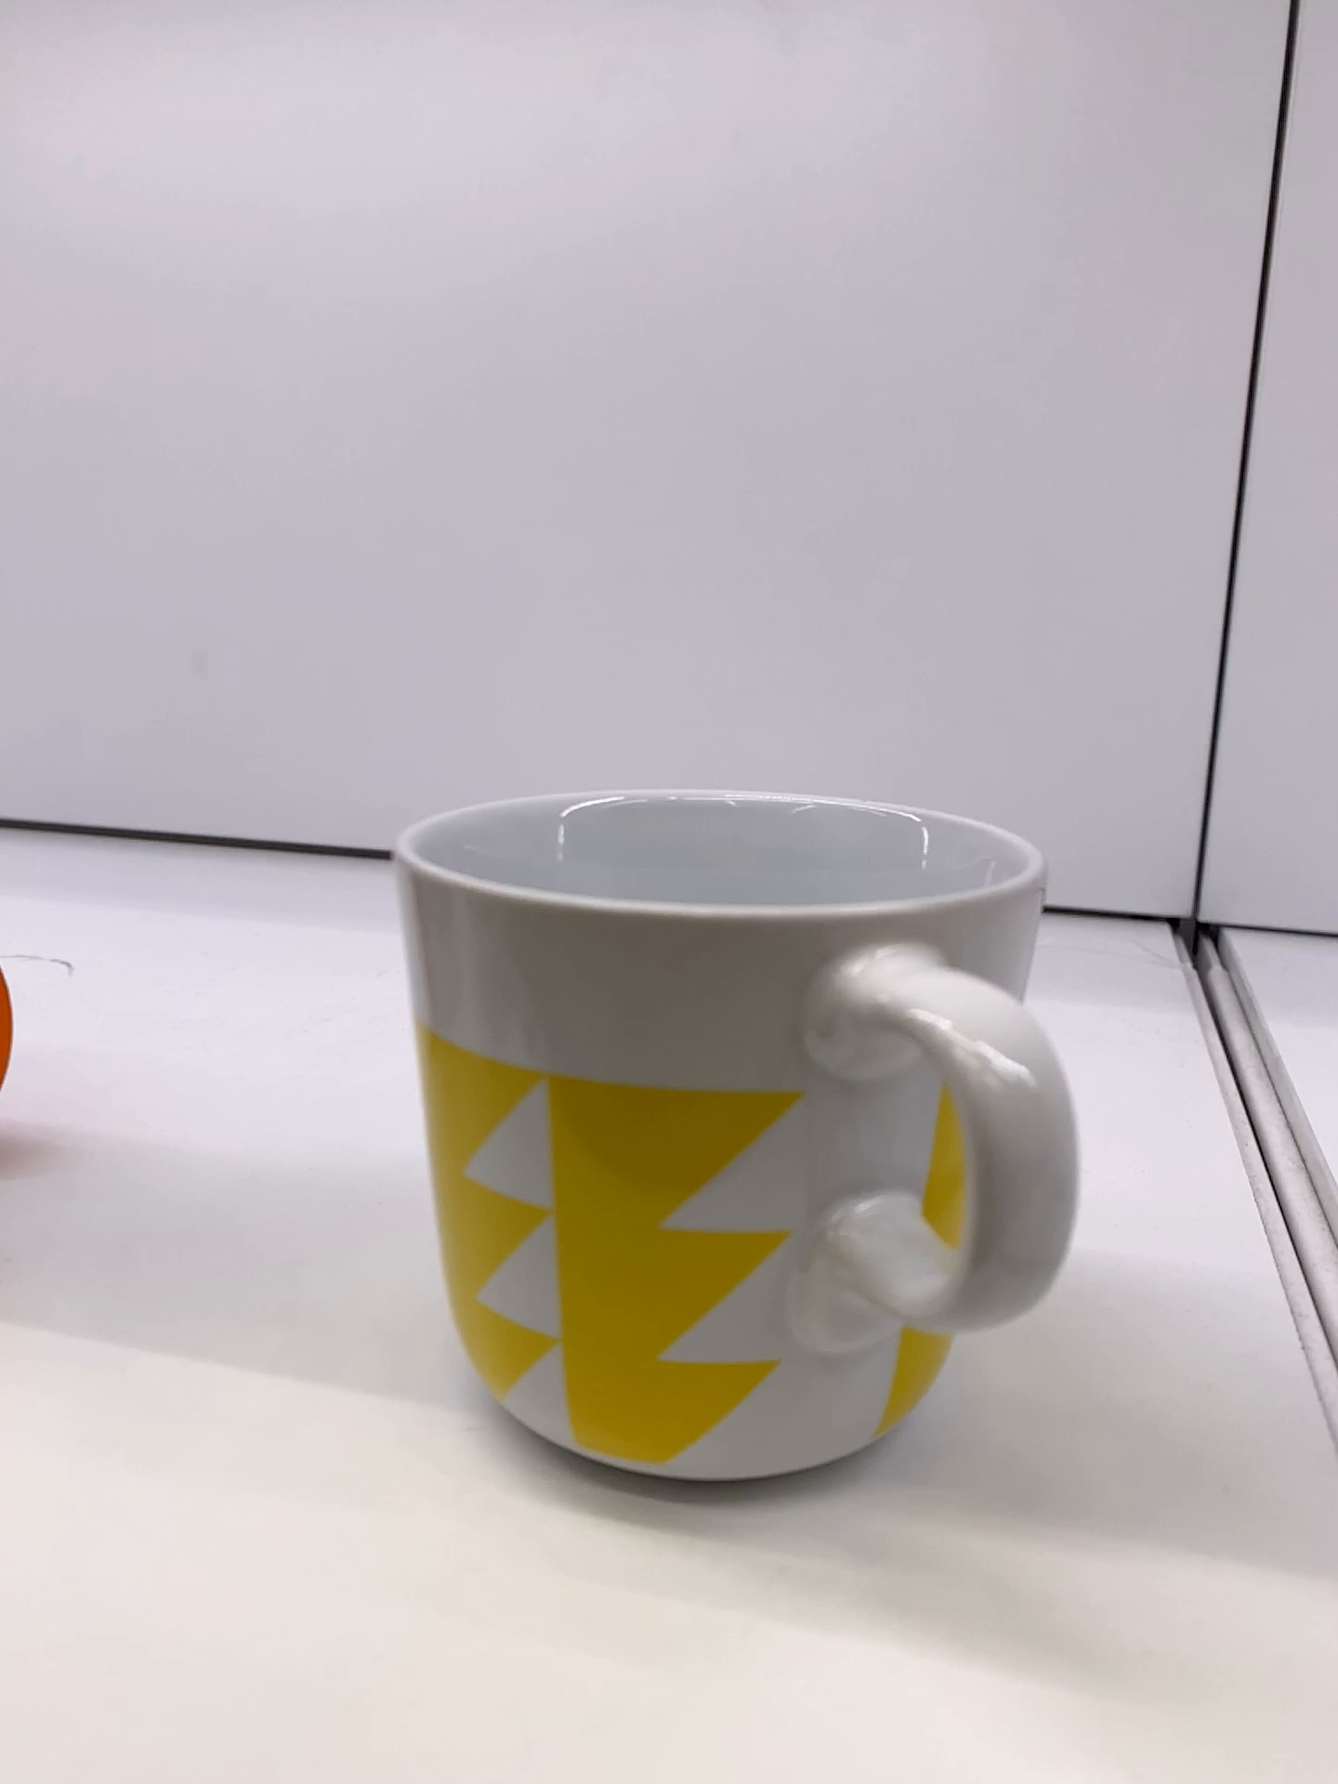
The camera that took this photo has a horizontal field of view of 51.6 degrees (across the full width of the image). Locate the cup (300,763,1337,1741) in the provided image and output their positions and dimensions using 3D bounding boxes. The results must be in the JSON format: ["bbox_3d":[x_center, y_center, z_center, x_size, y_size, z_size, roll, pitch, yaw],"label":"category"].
[{"bbox_3d":[0.008,0.024,0.172,0.084,0.065,0.107,-4,13,-25],"label":"cup"}]
